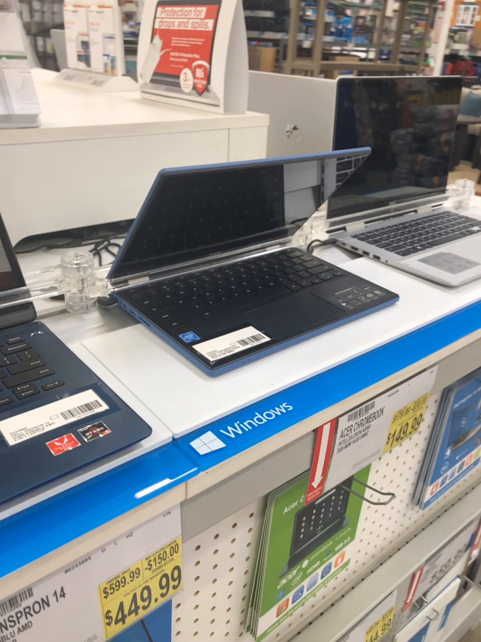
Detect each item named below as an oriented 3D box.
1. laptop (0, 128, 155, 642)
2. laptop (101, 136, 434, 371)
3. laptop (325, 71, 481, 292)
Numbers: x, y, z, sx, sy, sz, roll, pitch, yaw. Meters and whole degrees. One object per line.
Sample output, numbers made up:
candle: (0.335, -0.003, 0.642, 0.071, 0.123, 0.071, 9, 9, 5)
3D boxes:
laptop: (-0.291, -0.019, 0.387, 0.305, 0.169, 0.368, -19, 34, -36)
laptop: (0.031, -0.100, 0.598, 0.294, 0.159, 0.195, -18, 35, -36)
laptop: (0.346, -0.245, 0.826, 0.341, 0.218, 0.256, -19, 37, -34)
